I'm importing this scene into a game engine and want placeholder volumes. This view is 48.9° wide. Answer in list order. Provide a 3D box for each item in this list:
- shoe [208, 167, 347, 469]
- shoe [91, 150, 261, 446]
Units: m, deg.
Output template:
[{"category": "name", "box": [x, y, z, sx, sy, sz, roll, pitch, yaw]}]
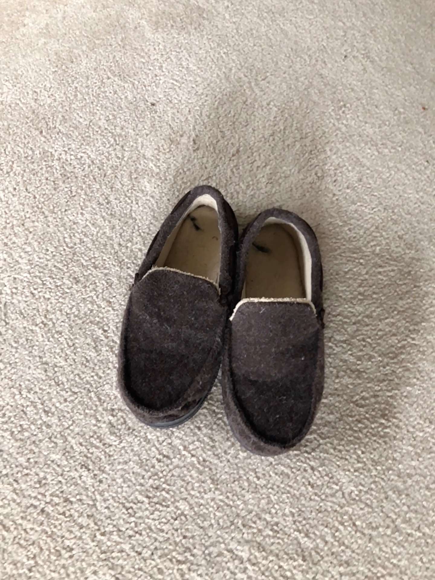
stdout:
[{"category": "shoe", "box": [0.070, 0.026, 0.545, 0.118, 0.096, 0.317, 7, 67, 2]}, {"category": "shoe", "box": [-0.034, 0.003, 0.558, 0.120, 0.096, 0.317, 9, 67, 3]}]
